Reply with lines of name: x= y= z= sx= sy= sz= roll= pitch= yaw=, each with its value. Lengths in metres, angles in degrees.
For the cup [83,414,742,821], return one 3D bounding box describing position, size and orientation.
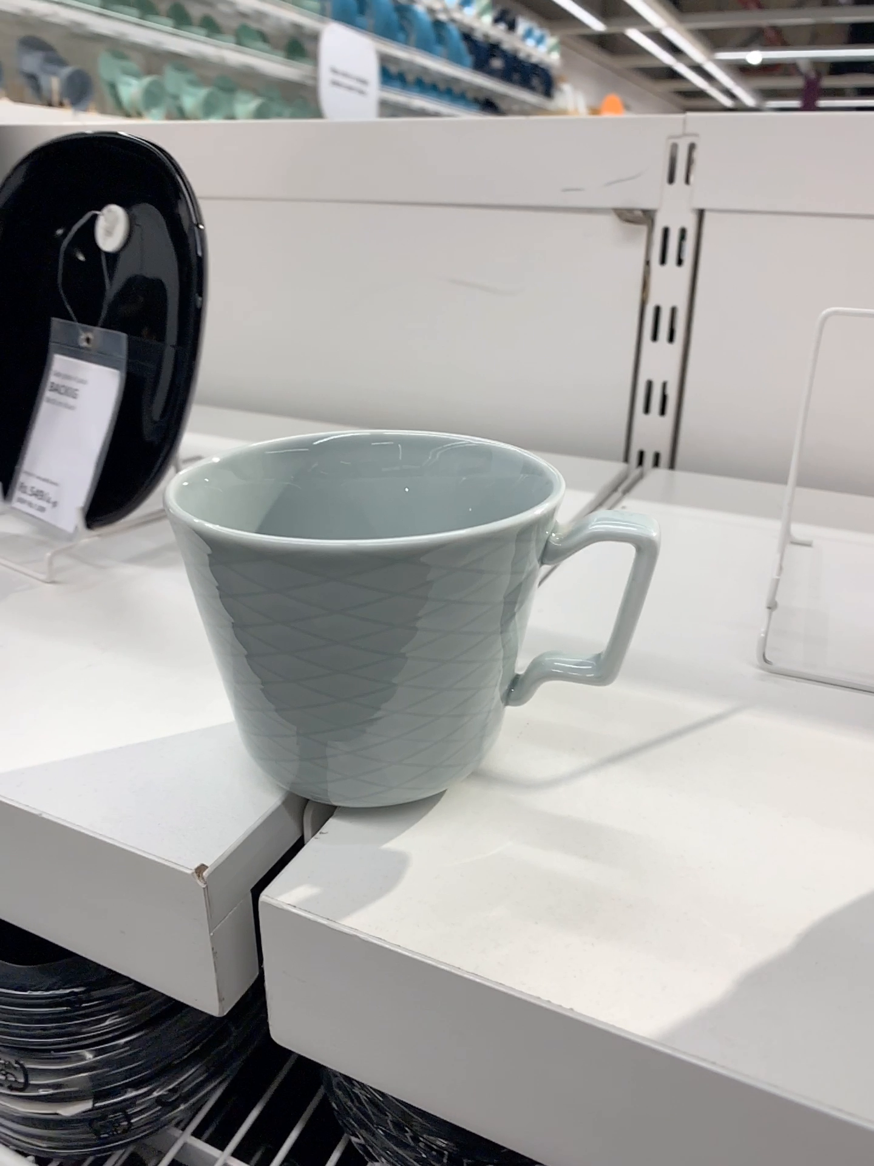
cup: x=-0.007 y=0.002 z=0.238 sx=0.130 sy=0.070 sz=0.100 roll=0 pitch=22 yaw=-3
